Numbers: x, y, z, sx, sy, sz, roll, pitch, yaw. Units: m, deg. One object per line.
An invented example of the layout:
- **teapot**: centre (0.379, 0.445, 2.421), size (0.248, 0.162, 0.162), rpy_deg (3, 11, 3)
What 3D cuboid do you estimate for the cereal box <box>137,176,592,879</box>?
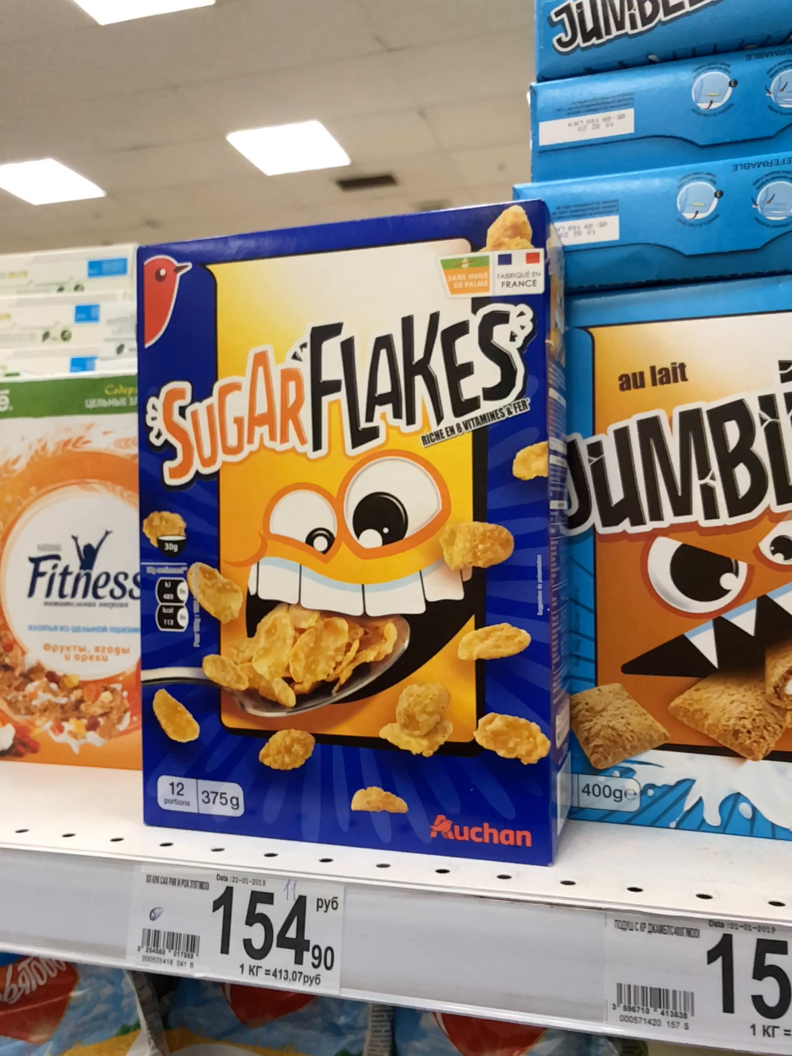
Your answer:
- **cereal box**: centre (-0.014, -0.001, 0.413), size (0.200, 0.280, 0.070), rpy_deg (0, -1, 17)
